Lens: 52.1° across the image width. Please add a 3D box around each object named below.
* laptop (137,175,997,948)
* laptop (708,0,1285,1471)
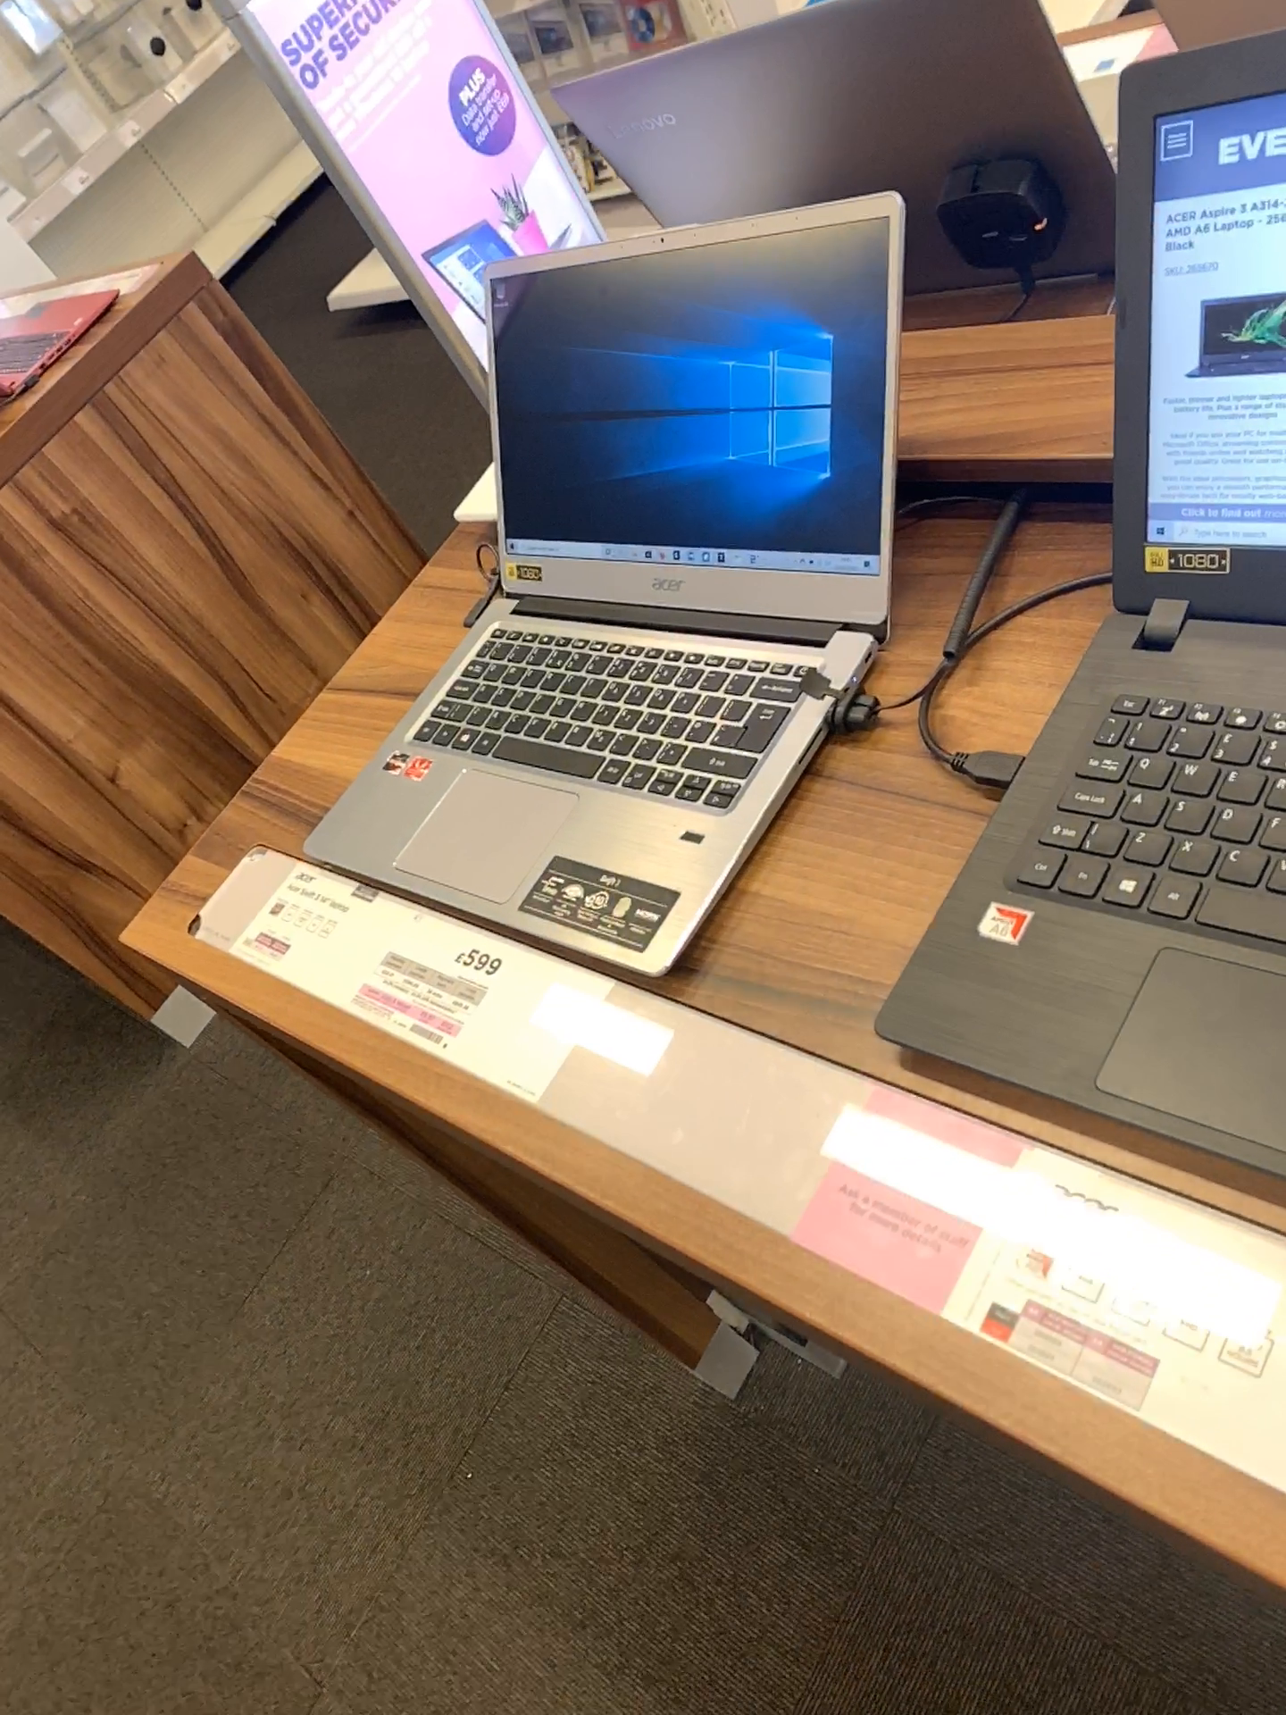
[{"bbox_3d":[-0.041,-0.173,0.734,0.308,0.153,0.359,15,63,42],"label":"laptop"},{"bbox_3d":[0.286,-0.098,0.414,0.372,0.191,0.357,12,62,40],"label":"laptop"}]
